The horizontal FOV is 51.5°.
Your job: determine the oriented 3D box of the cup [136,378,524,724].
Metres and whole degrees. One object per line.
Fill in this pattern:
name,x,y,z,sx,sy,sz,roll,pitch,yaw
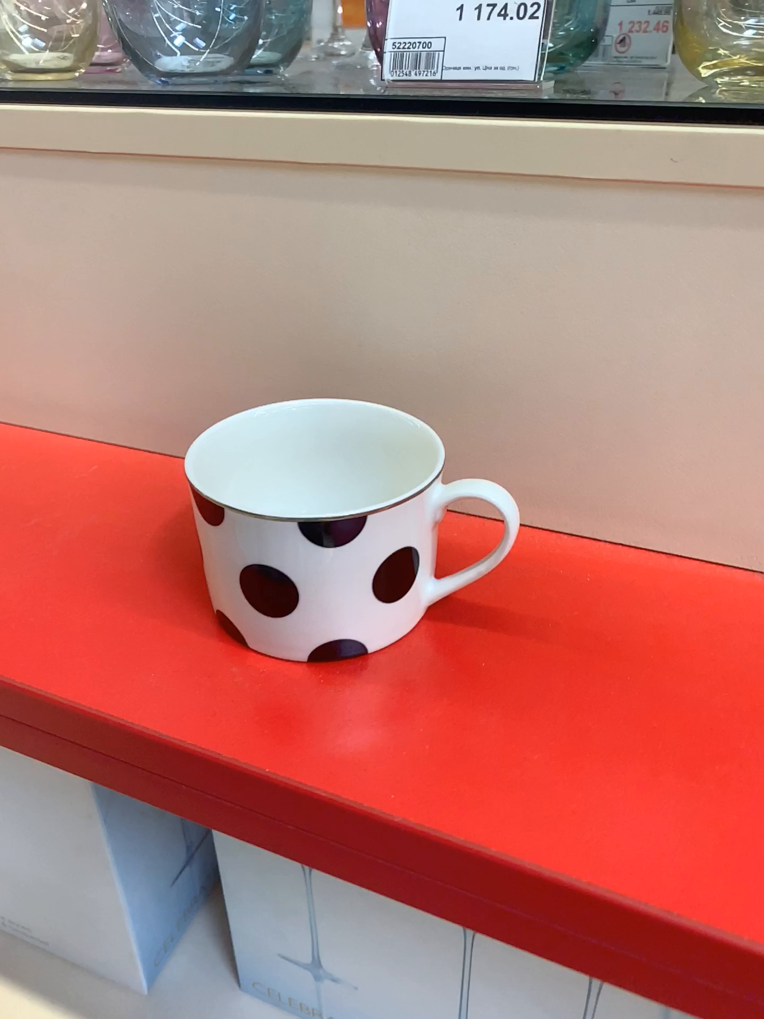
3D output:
cup,-0.011,0.008,0.266,0.100,0.070,0.080,8,32,15
